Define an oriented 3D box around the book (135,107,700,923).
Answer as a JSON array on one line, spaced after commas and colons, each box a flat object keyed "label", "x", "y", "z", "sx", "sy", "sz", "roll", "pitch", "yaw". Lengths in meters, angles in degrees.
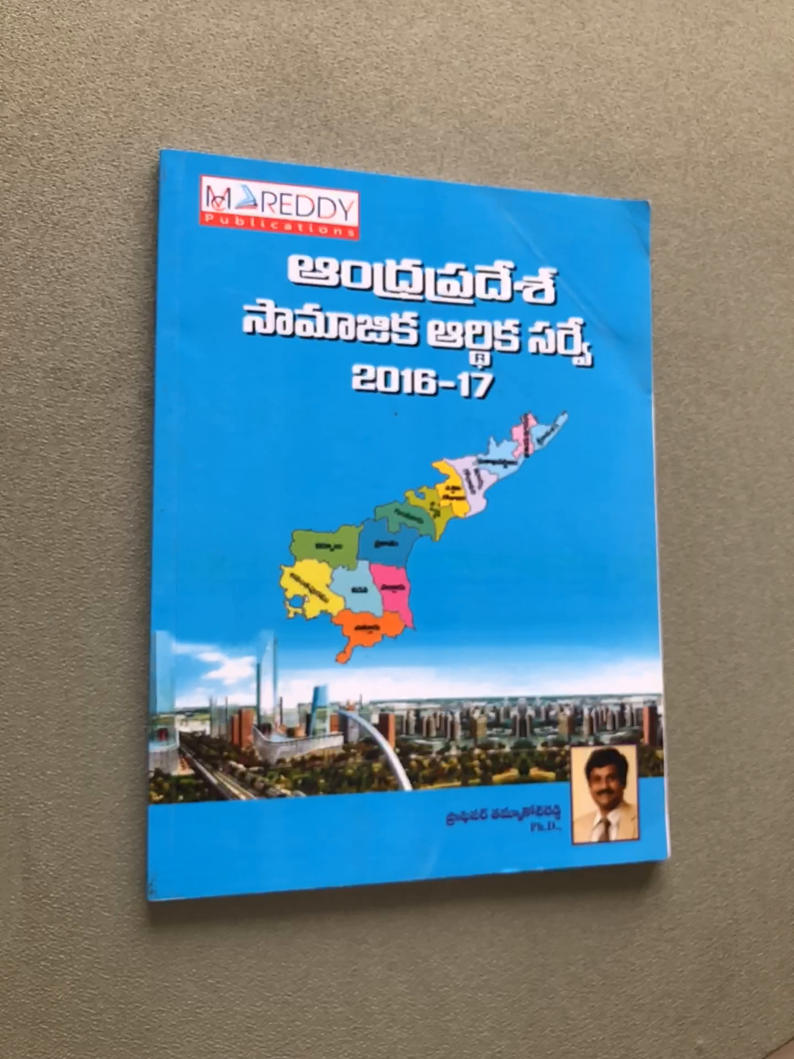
[{"label": "book", "x": 0.011, "y": -0.006, "z": 0.292, "sx": 0.180, "sy": 0.020, "sz": 0.240, "roll": 1, "pitch": 85, "yaw": -14}]
